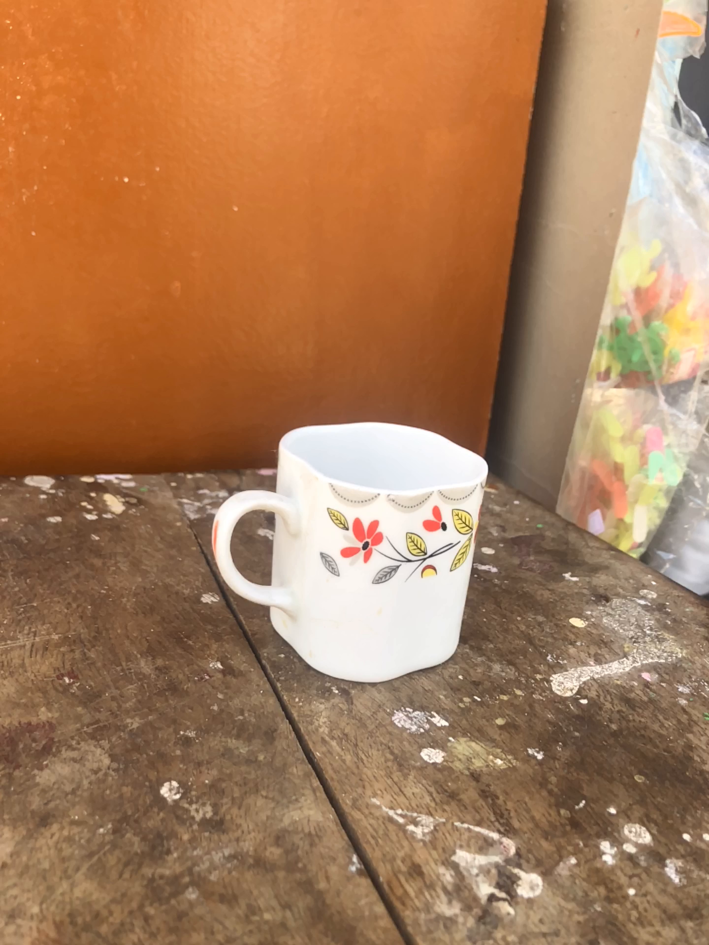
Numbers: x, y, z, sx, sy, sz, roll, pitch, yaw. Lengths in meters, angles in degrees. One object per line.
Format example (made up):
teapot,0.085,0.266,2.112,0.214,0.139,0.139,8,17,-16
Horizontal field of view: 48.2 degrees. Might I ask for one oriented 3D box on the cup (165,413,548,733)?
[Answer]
cup,-0.002,0.022,0.232,0.090,0.060,0.060,-7,21,-30
